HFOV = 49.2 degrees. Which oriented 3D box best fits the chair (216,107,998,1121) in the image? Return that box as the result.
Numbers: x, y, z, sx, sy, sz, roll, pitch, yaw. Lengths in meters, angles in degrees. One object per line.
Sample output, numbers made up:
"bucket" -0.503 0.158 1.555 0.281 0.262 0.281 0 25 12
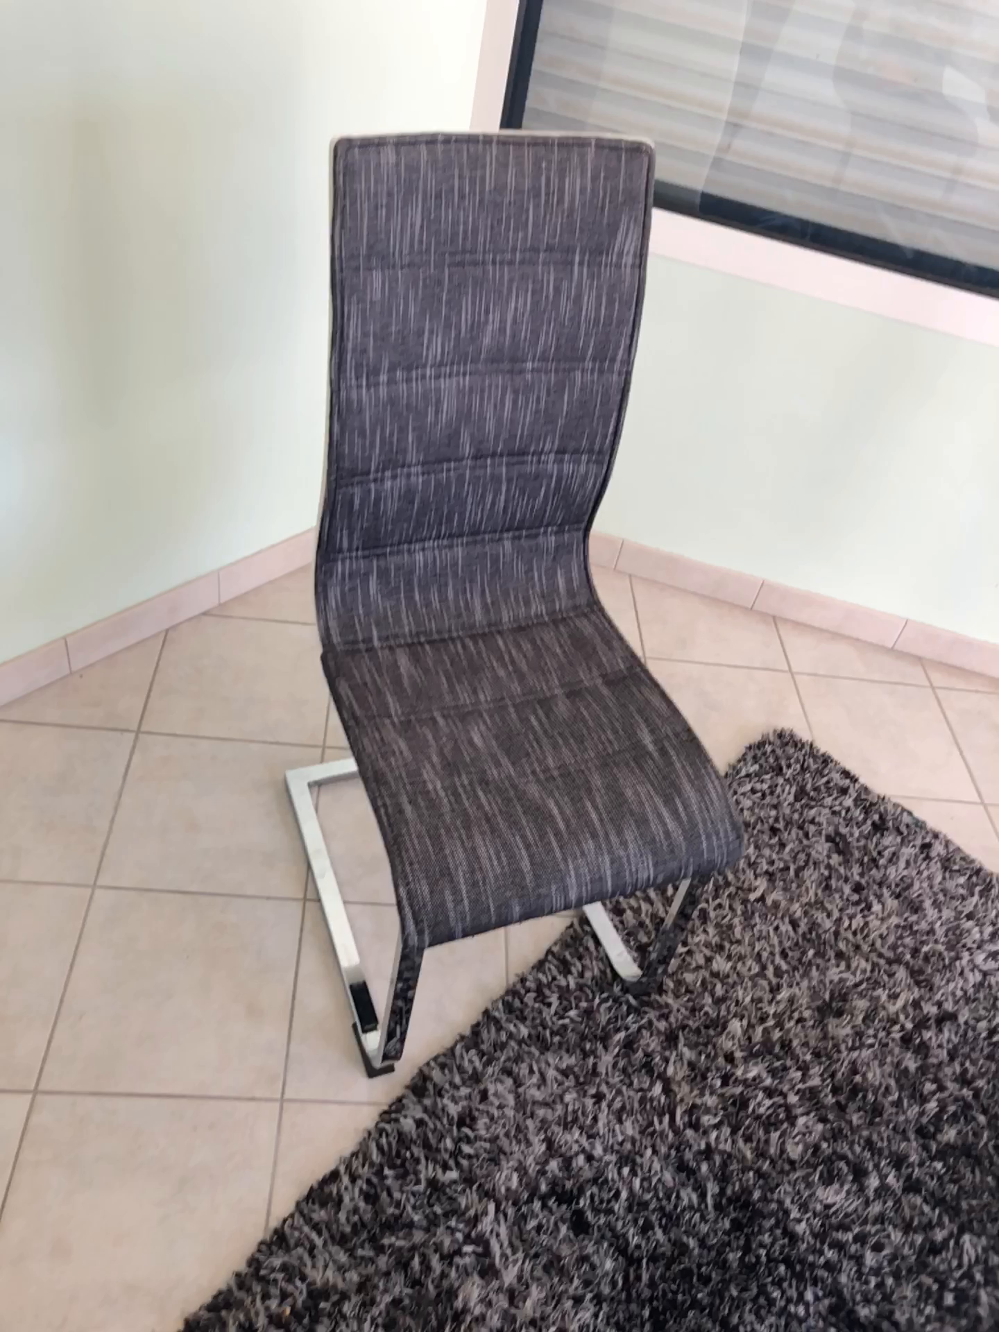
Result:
"chair" -0.012 -0.028 1.282 0.502 0.964 0.582 -10 48 -23
